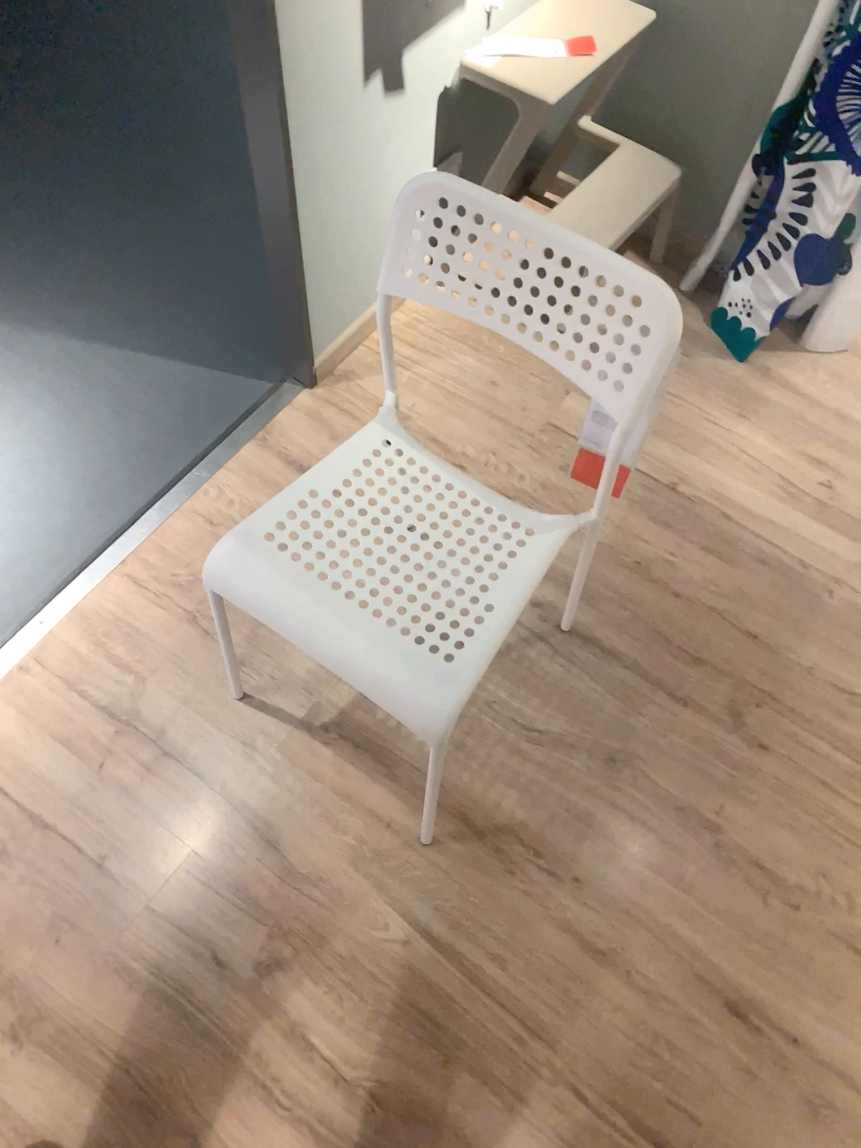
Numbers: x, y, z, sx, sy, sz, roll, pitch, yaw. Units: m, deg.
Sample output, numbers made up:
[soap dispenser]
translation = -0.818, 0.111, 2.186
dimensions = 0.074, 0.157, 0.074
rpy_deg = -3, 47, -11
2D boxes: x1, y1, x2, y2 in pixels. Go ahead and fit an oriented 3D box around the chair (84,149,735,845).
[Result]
[chair]
translation = -0.011, -0.065, 1.144
dimensions = 0.430, 0.609, 0.531
rpy_deg = 31, 63, 15
